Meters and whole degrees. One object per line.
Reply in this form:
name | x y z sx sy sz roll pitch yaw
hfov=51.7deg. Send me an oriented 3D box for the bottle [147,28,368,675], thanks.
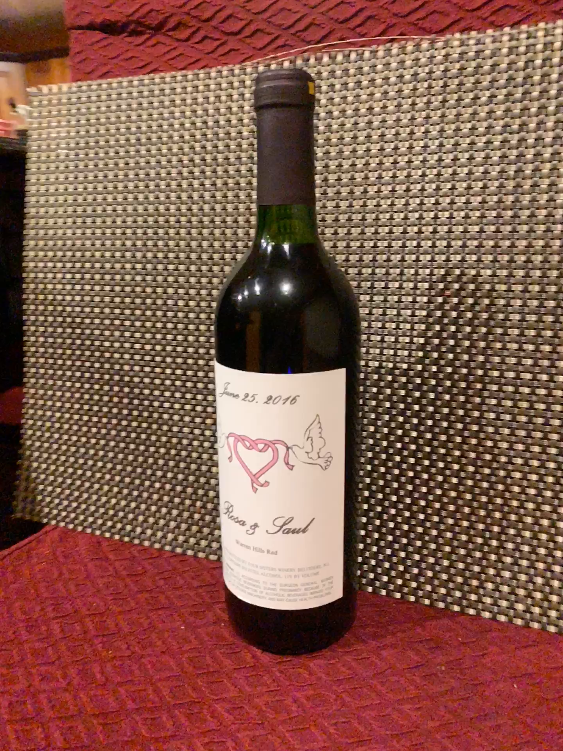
bottle | -0.006 -0.002 0.297 0.080 0.289 0.060 6 16 25
